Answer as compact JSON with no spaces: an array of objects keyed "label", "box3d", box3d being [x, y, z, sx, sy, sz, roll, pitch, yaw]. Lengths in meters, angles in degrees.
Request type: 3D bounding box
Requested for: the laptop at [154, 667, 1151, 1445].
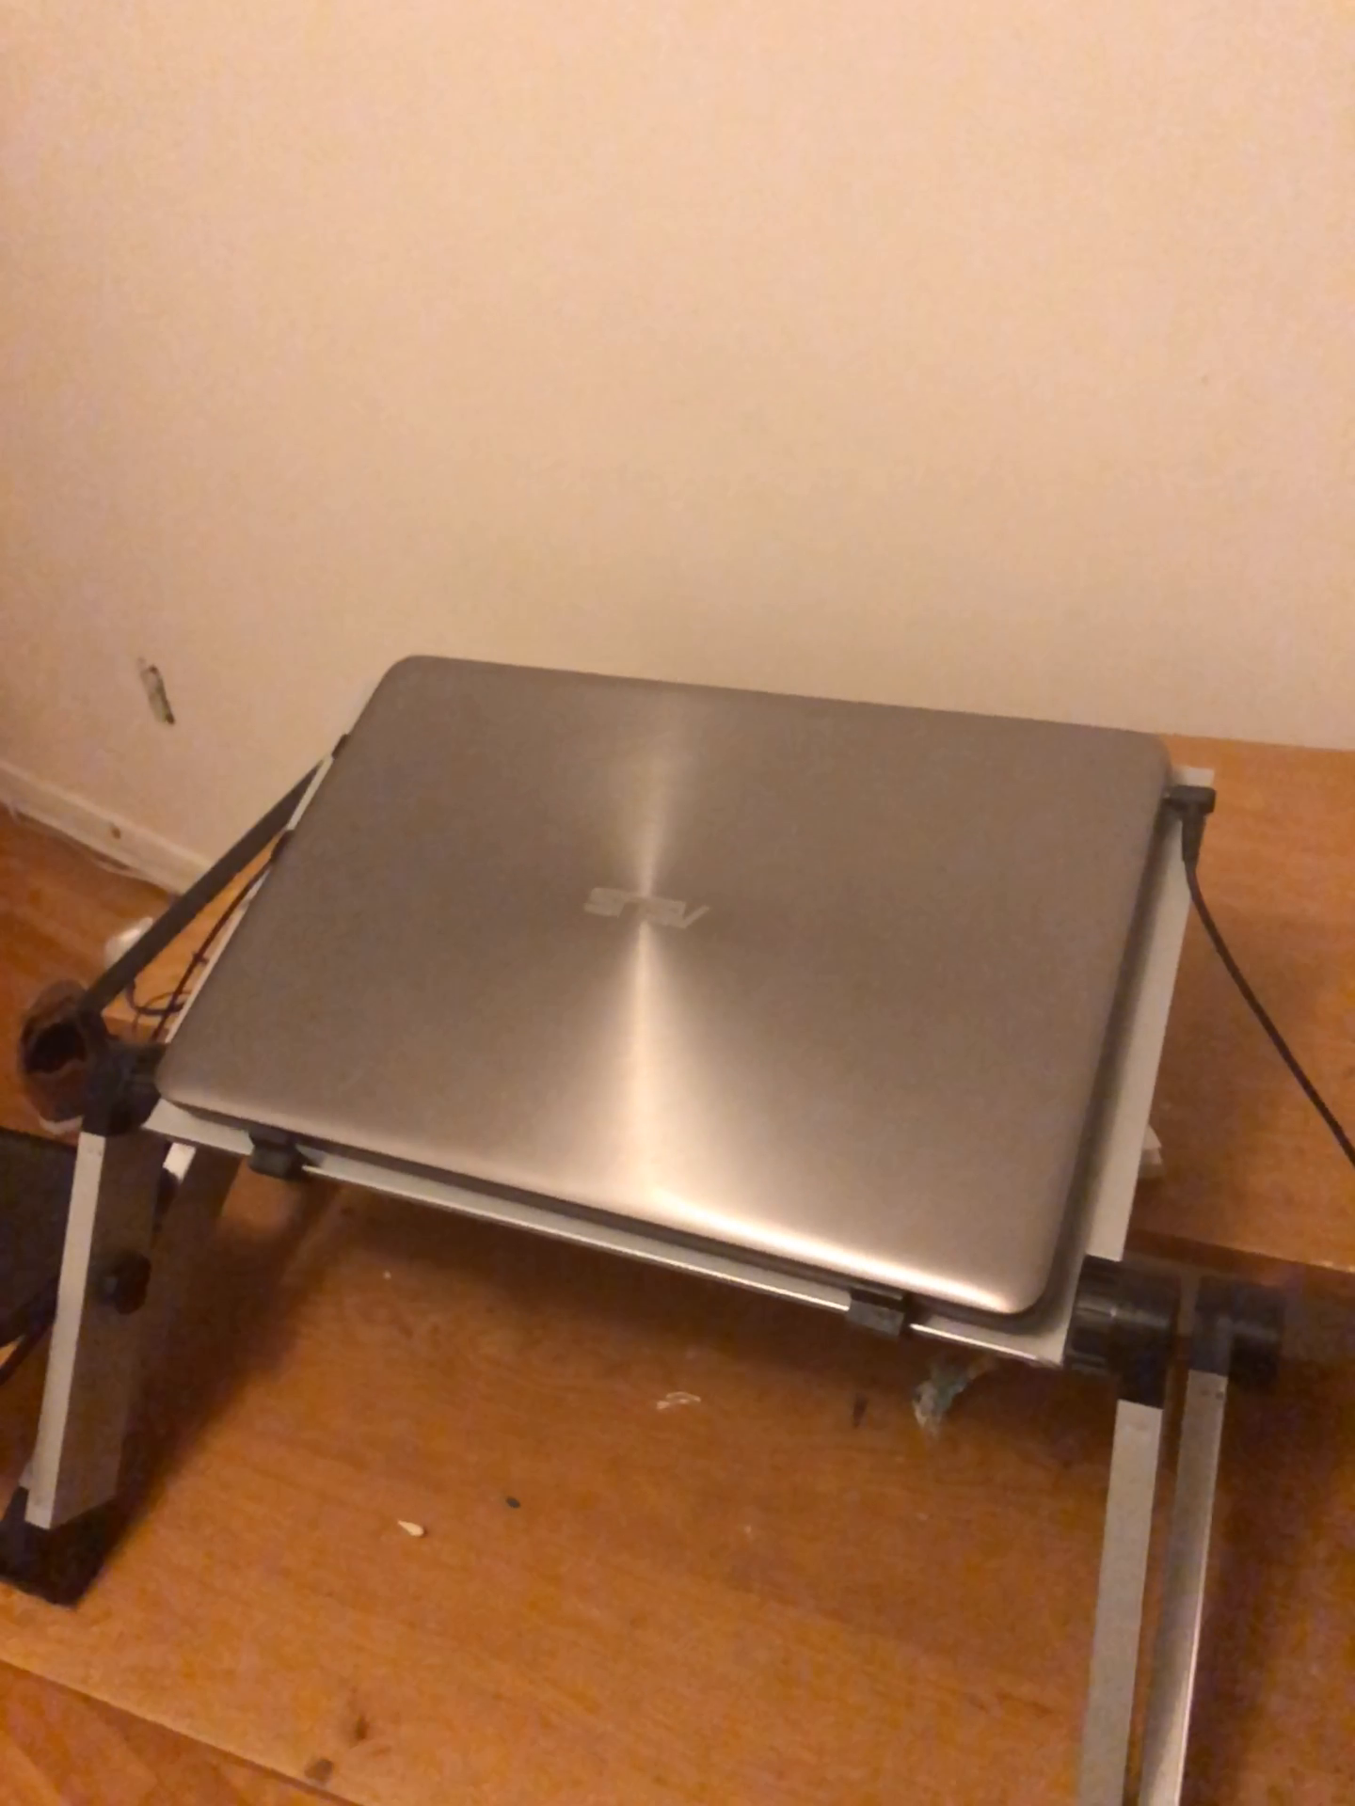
[{"label":"laptop","box3d":[-0.010,0.035,0.639,0.362,0.071,0.250,9,55,24]}]
